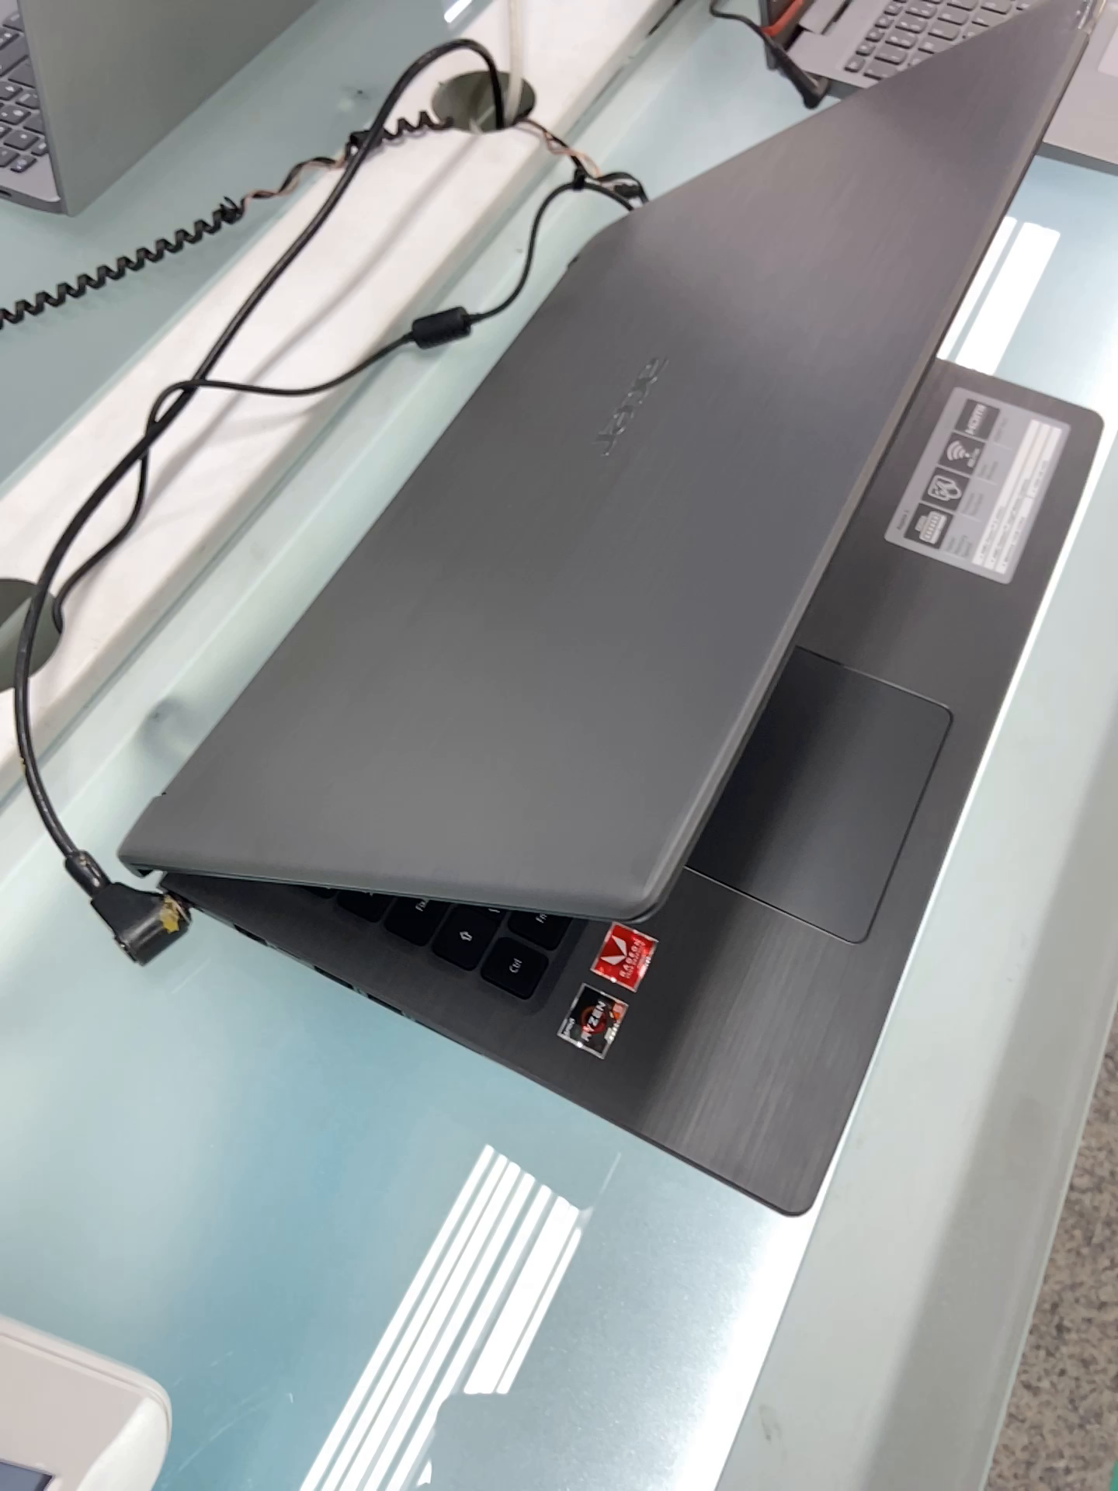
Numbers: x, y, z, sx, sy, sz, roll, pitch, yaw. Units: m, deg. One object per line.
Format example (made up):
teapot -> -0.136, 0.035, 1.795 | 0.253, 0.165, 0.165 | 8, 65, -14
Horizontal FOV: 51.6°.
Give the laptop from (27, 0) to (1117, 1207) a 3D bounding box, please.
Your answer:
laptop -> 0.063, -0.081, 0.369 | 0.220, 0.155, 0.344 | 23, 62, 13
